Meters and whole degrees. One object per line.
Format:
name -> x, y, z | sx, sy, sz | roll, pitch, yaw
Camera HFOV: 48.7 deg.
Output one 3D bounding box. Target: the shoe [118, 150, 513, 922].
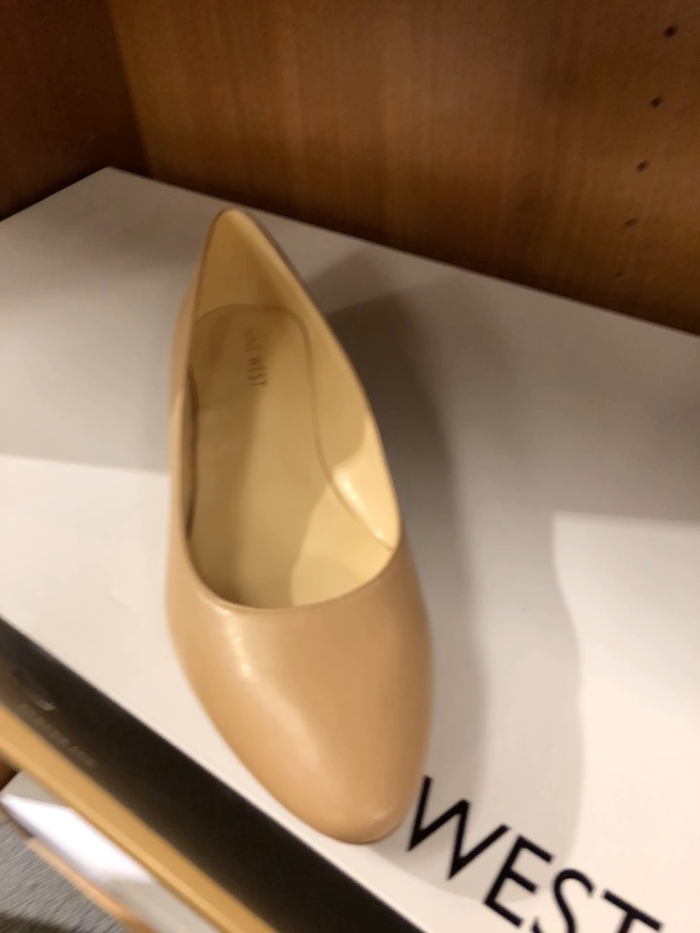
shoe -> -0.029, -0.008, 0.271 | 0.081, 0.070, 0.270 | -10, 49, -5
